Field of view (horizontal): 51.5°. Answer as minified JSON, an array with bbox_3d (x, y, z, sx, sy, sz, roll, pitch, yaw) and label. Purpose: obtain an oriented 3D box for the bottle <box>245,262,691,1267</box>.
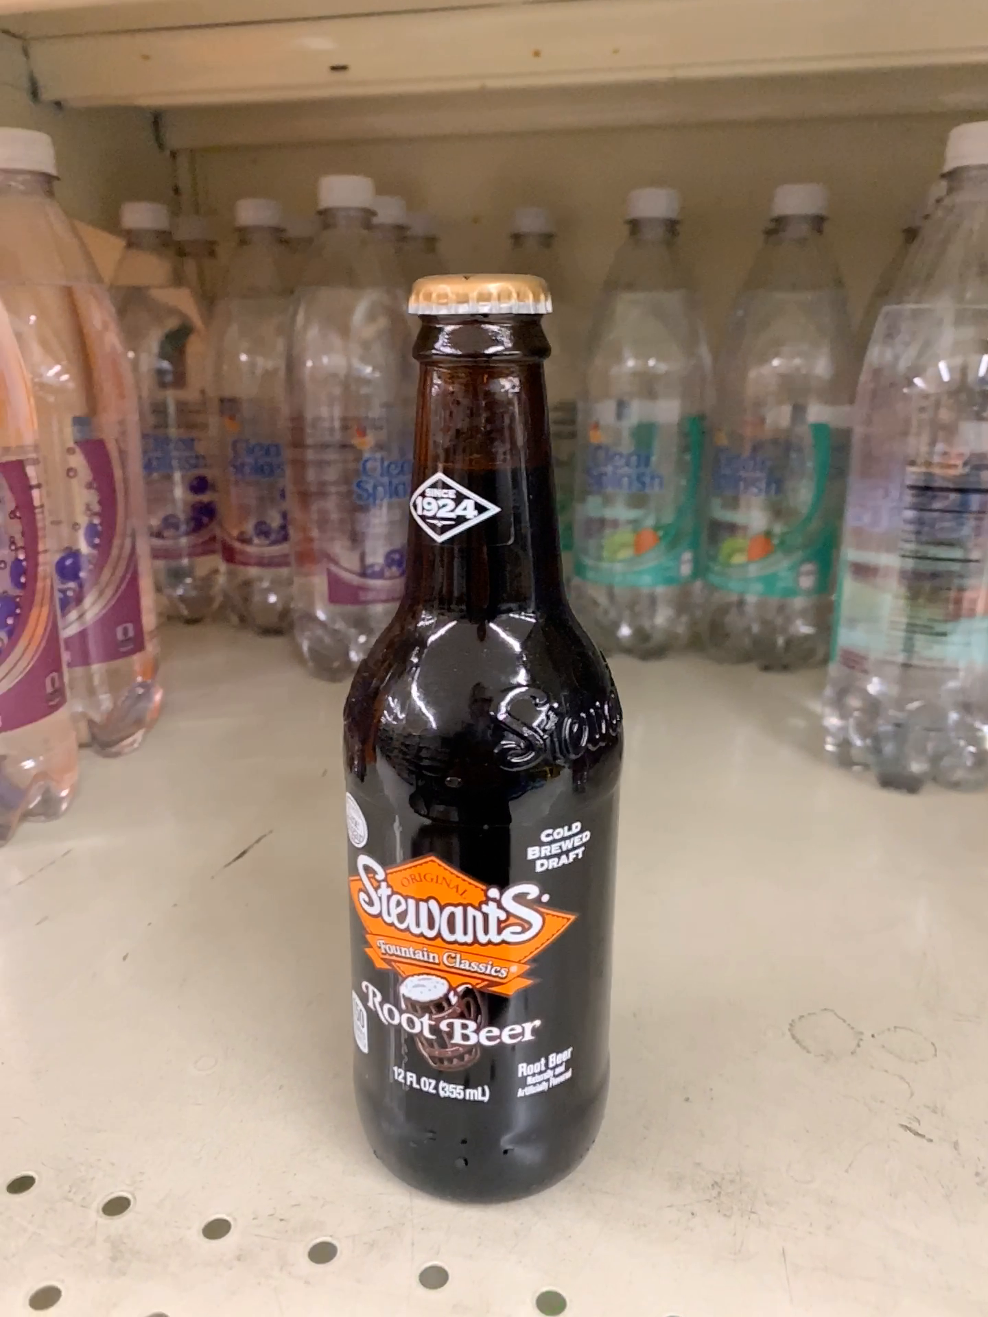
[{"bbox_3d":[-0.002,0.023,0.234,0.070,0.207,0.060,7,19,21],"label":"bottle"}]
